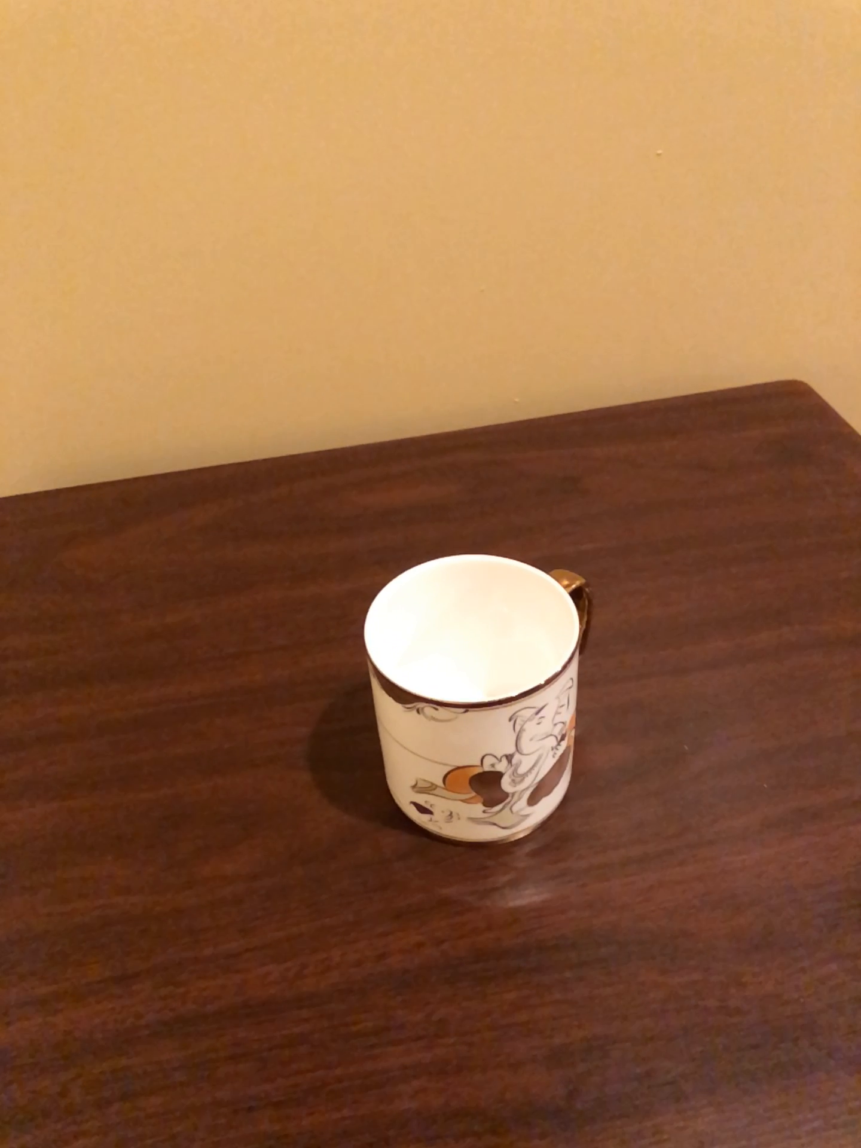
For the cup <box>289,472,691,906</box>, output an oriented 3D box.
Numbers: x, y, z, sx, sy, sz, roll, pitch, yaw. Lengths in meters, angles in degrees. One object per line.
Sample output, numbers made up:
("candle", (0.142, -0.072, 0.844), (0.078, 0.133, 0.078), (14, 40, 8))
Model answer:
("cup", (0.030, 0.044, 0.427), (0.100, 0.100, 0.140), (29, 50, 34))
